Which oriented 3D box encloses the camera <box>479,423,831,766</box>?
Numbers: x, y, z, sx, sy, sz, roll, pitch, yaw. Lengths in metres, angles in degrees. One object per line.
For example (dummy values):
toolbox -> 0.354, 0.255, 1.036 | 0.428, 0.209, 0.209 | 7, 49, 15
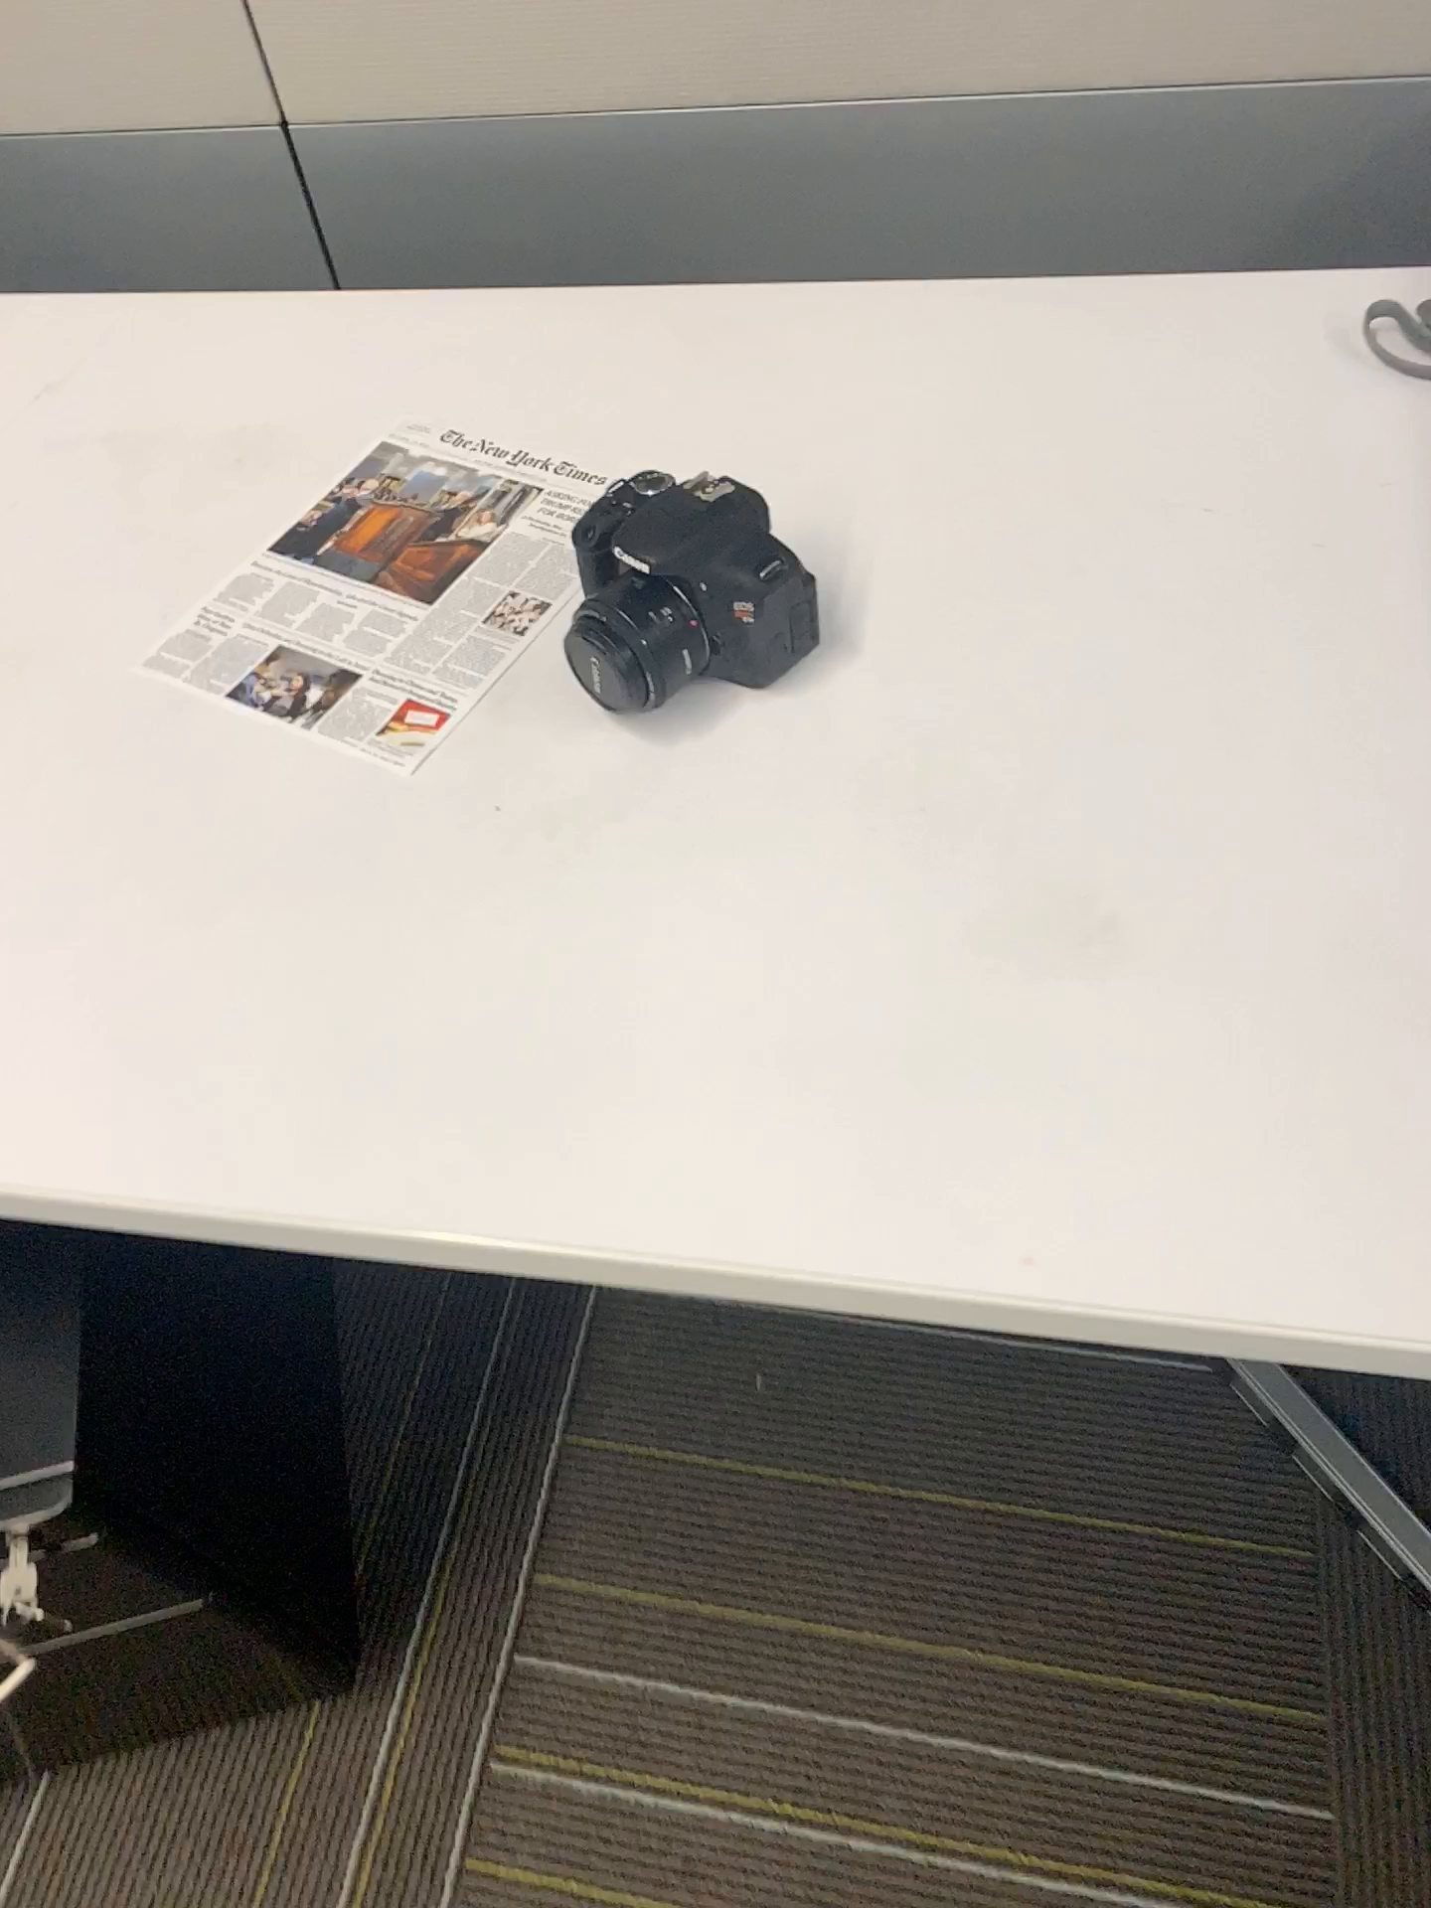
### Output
camera -> -0.030, -0.198, 0.790 | 0.136, 0.090, 0.119 | 34, 64, 29
